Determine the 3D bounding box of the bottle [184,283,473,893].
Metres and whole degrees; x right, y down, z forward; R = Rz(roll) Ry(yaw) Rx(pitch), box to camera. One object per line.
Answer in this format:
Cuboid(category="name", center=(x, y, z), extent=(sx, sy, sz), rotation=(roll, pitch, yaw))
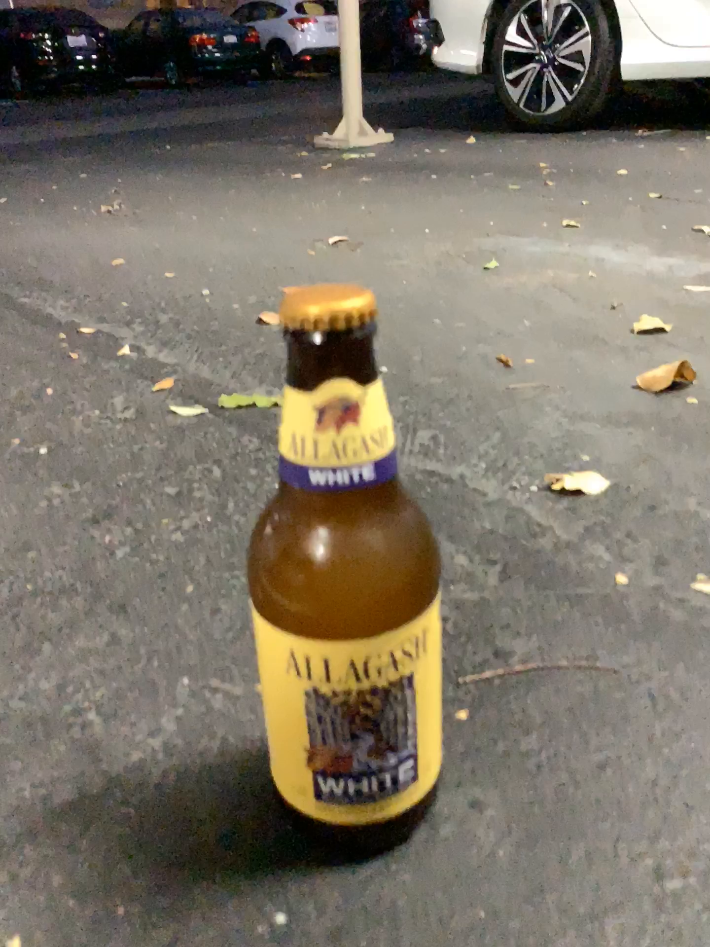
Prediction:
Cuboid(category="bottle", center=(-0.008, 0.042, 0.263), extent=(0.070, 0.190, 0.070), rotation=(-2, 28, 1))
